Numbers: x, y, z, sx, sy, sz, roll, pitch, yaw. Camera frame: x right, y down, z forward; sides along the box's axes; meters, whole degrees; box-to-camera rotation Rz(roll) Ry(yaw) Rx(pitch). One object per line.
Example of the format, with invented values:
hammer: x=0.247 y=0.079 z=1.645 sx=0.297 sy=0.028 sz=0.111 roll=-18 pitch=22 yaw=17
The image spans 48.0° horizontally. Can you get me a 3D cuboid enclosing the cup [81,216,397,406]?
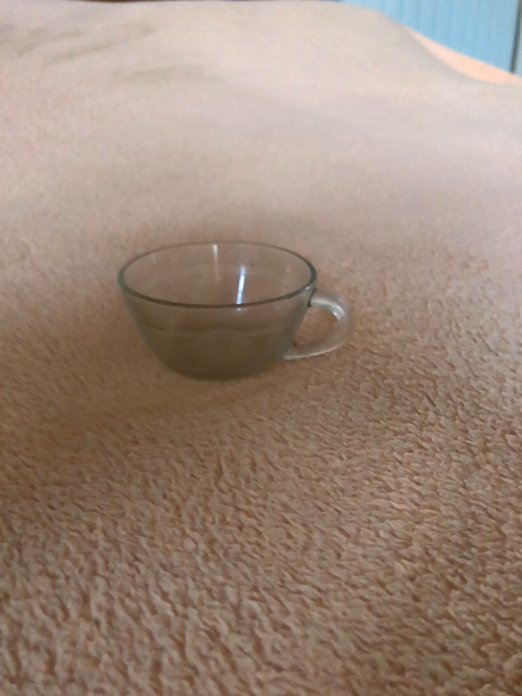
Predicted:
cup: x=-0.001 y=-0.022 z=0.251 sx=0.110 sy=0.040 sz=0.091 roll=5 pitch=29 yaw=13
